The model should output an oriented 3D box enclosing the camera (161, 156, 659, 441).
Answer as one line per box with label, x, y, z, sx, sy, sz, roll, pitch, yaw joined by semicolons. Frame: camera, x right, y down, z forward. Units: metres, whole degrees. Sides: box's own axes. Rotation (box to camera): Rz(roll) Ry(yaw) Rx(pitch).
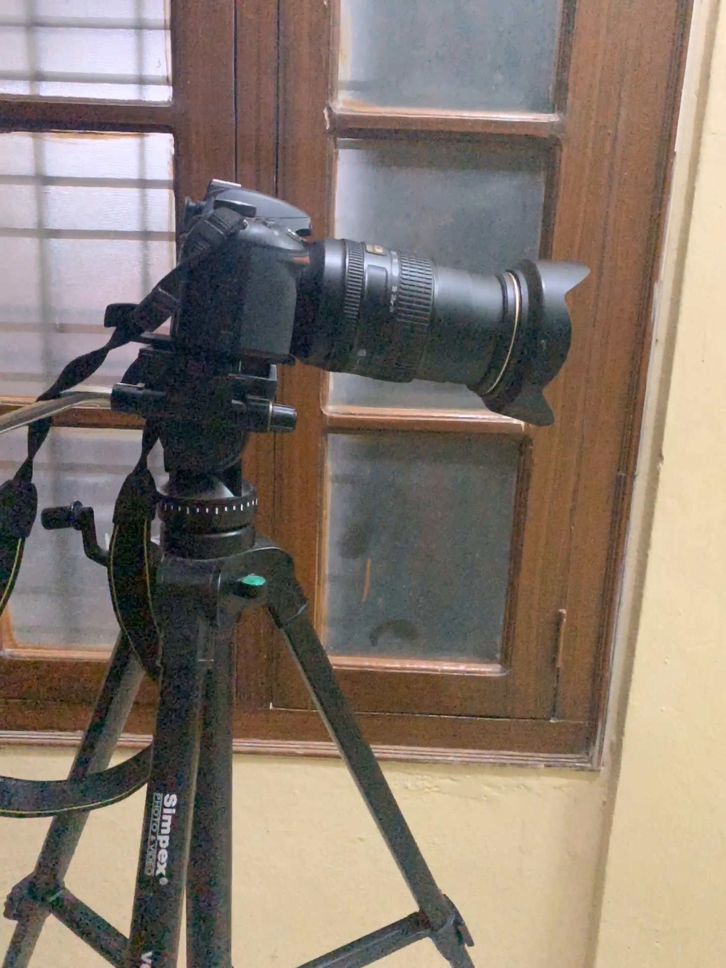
camera;0.022;-0.116;0.486;0.270;0.120;0.130;7;14;-6
